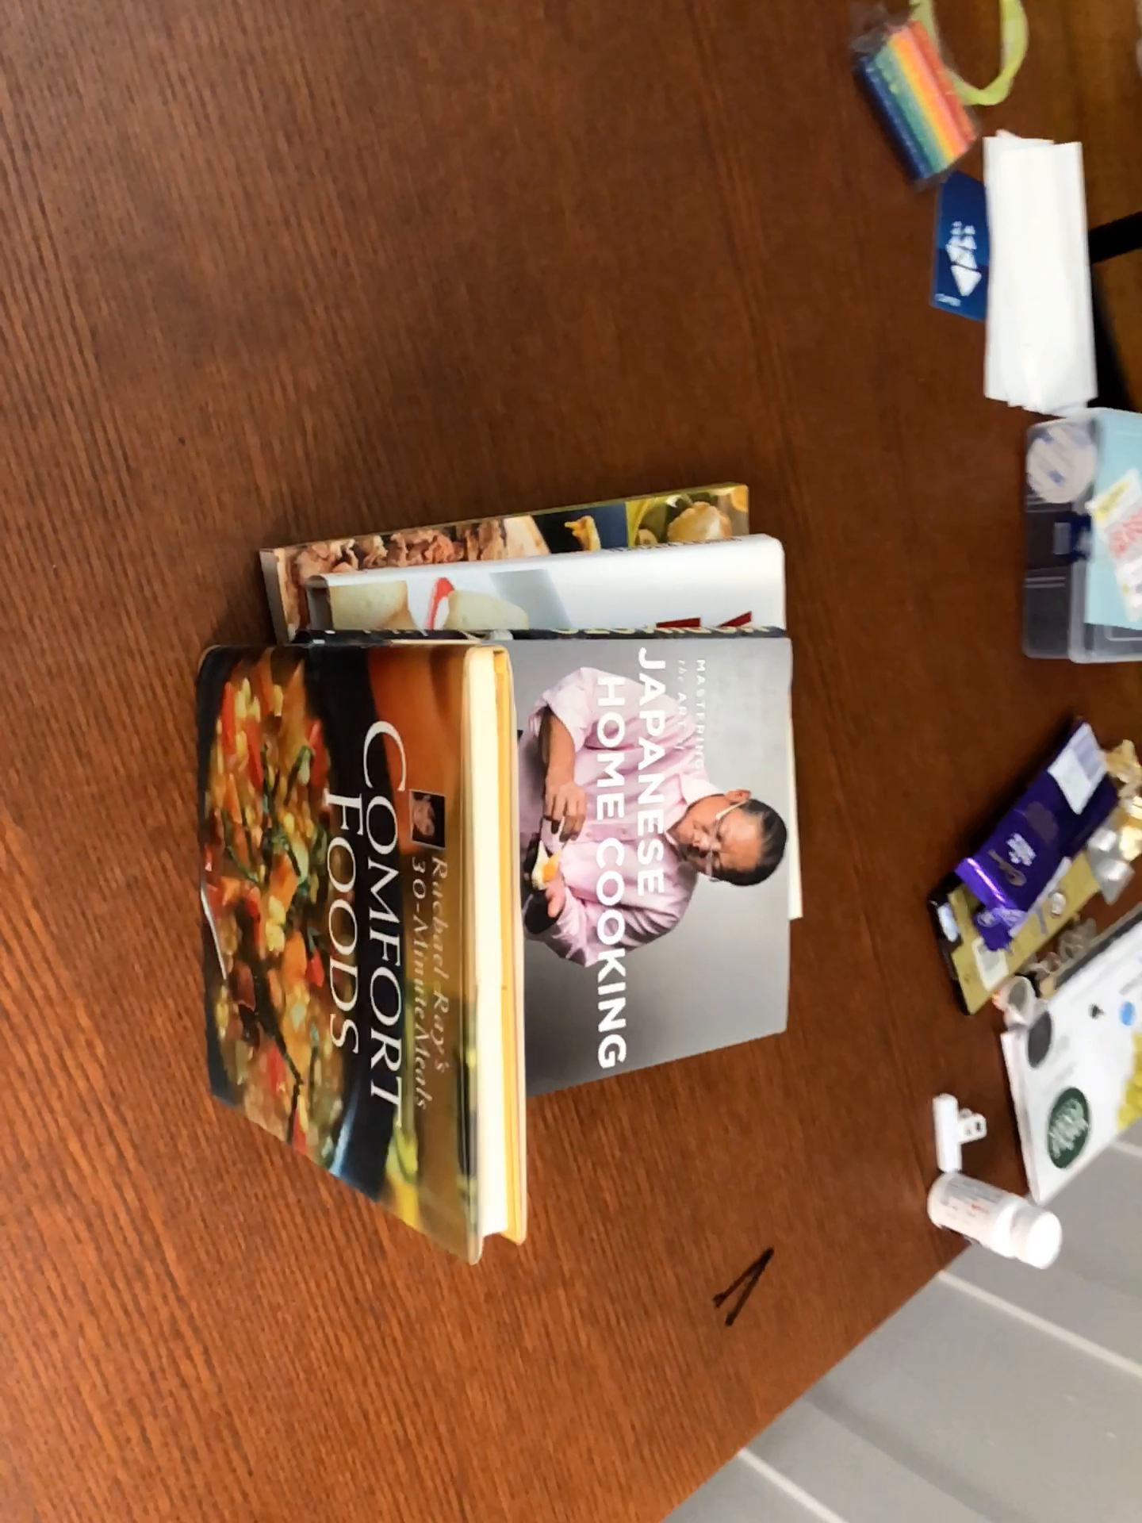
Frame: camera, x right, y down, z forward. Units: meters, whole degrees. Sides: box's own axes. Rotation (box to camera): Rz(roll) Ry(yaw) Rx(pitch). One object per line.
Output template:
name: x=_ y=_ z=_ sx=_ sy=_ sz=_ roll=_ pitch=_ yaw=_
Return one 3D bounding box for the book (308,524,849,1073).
book: x=0.021 y=0.004 z=0.621 sx=0.281 sy=0.030 sz=0.220 roll=-11 pitch=100 yaw=-33

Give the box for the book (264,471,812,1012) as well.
book: x=0.001 y=-0.024 z=0.639 sx=0.281 sy=0.030 sz=0.220 roll=-14 pitch=101 yaw=-33

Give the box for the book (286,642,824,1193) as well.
book: x=0.009 y=0.057 z=0.598 sx=0.281 sy=0.030 sz=0.220 roll=-5 pitch=96 yaw=-34

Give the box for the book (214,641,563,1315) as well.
book: x=-0.080 y=0.061 z=0.478 sx=0.030 sy=0.209 sz=0.210 roll=-3 pitch=96 yaw=-38
